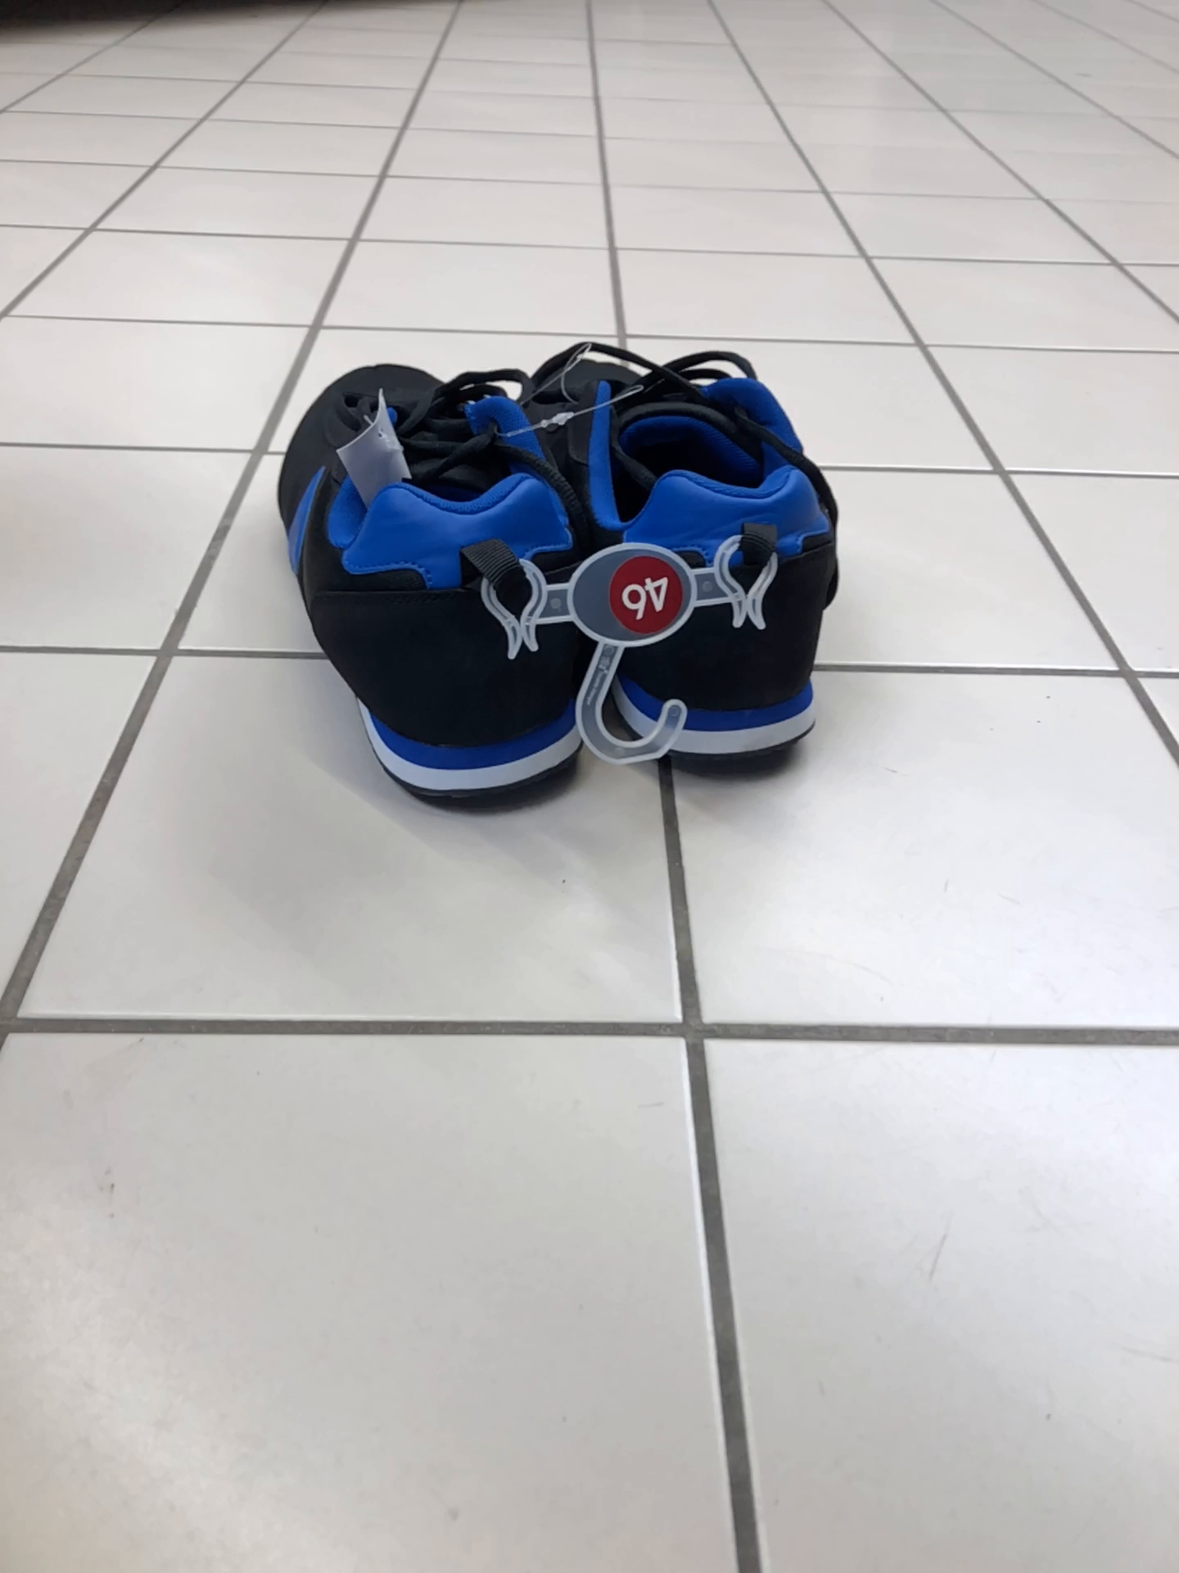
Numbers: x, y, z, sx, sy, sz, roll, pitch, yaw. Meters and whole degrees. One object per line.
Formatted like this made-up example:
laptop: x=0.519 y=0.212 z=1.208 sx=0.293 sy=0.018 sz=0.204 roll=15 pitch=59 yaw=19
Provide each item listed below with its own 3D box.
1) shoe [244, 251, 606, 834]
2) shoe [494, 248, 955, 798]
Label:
shoe: x=-0.079 y=-0.120 z=0.532 sx=0.100 sy=0.109 sz=0.291 roll=-7 pitch=38 yaw=-12
shoe: x=0.035 y=-0.132 z=0.557 sx=0.100 sy=0.109 sz=0.291 roll=-7 pitch=38 yaw=-12
